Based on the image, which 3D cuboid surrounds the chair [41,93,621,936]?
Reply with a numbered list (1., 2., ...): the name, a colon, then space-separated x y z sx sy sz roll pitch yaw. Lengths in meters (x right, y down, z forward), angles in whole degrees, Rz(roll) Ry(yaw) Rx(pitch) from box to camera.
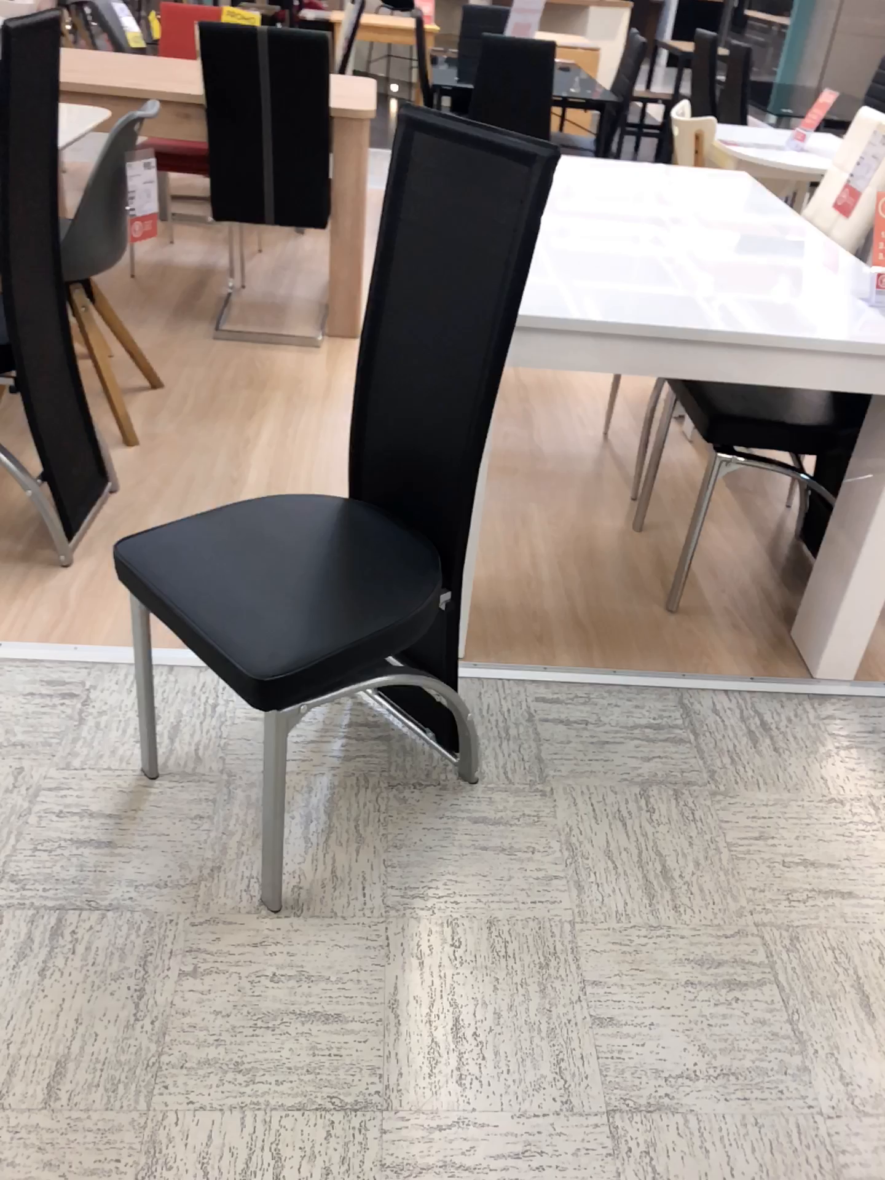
1. chair: -0.167 -0.110 1.391 0.493 1.013 0.451 -23 43 -37
